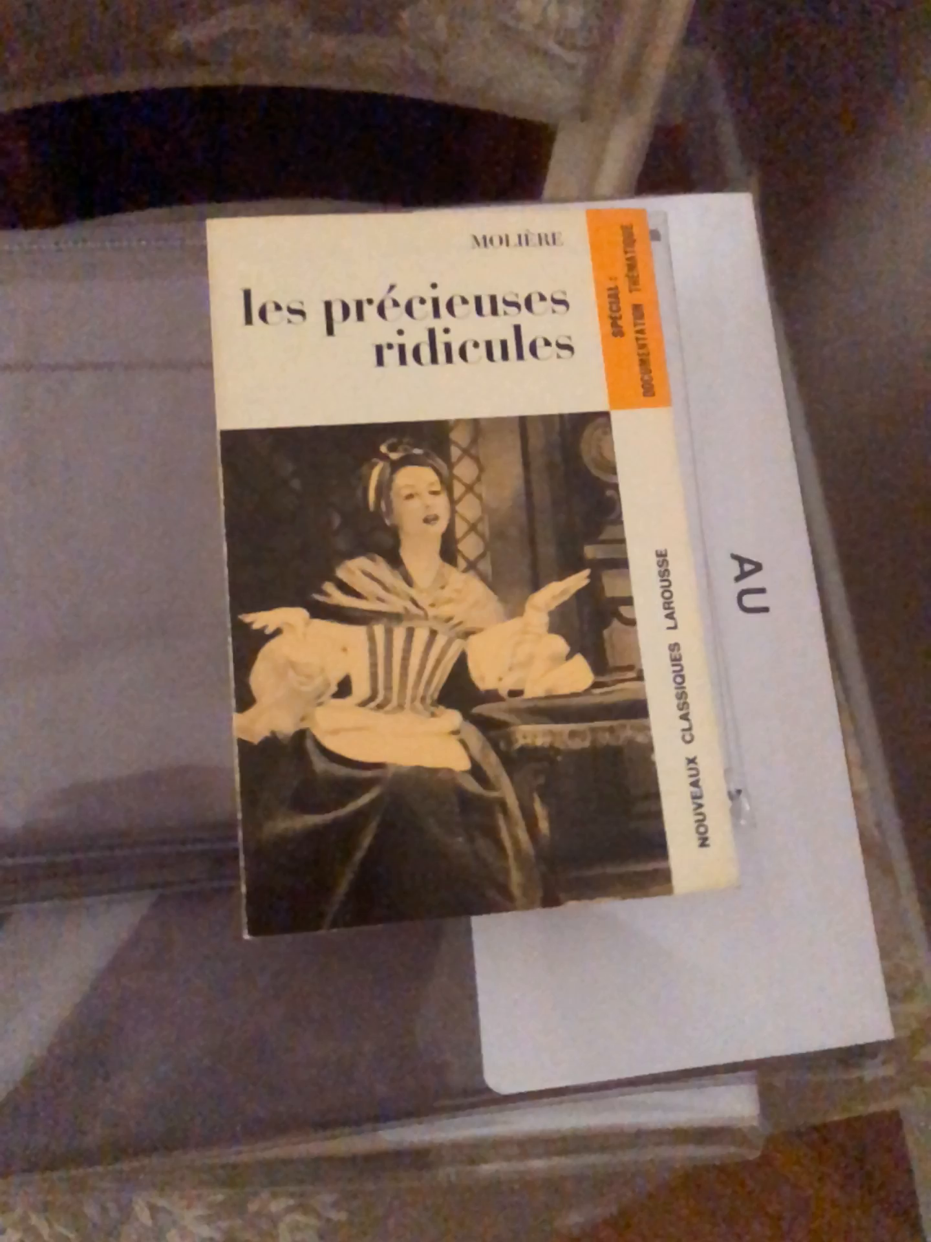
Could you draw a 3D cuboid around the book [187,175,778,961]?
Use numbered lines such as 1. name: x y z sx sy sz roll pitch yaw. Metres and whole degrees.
1. book: 0.000 -0.020 0.249 0.120 0.020 0.180 -5 78 -6
